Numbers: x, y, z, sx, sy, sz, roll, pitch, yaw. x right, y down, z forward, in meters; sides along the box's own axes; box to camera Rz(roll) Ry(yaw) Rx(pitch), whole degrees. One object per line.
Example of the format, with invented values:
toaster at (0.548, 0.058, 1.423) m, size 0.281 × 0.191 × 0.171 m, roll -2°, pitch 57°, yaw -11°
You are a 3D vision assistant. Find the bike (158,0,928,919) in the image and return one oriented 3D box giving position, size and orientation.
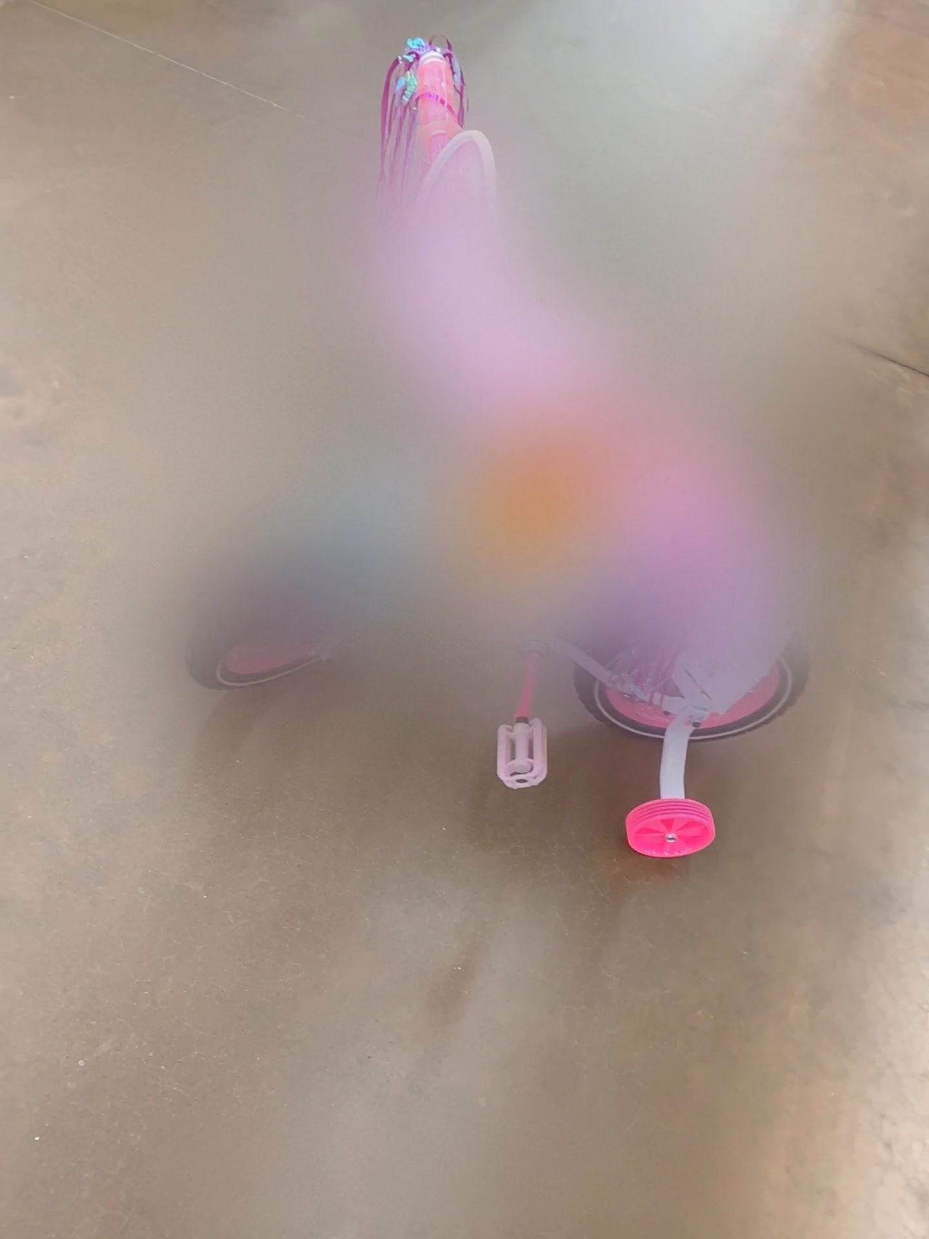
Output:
bike at (0.114, -0.057, 0.988) m, size 0.759 × 0.750 × 0.444 m, roll 0°, pitch 52°, yaw -17°
